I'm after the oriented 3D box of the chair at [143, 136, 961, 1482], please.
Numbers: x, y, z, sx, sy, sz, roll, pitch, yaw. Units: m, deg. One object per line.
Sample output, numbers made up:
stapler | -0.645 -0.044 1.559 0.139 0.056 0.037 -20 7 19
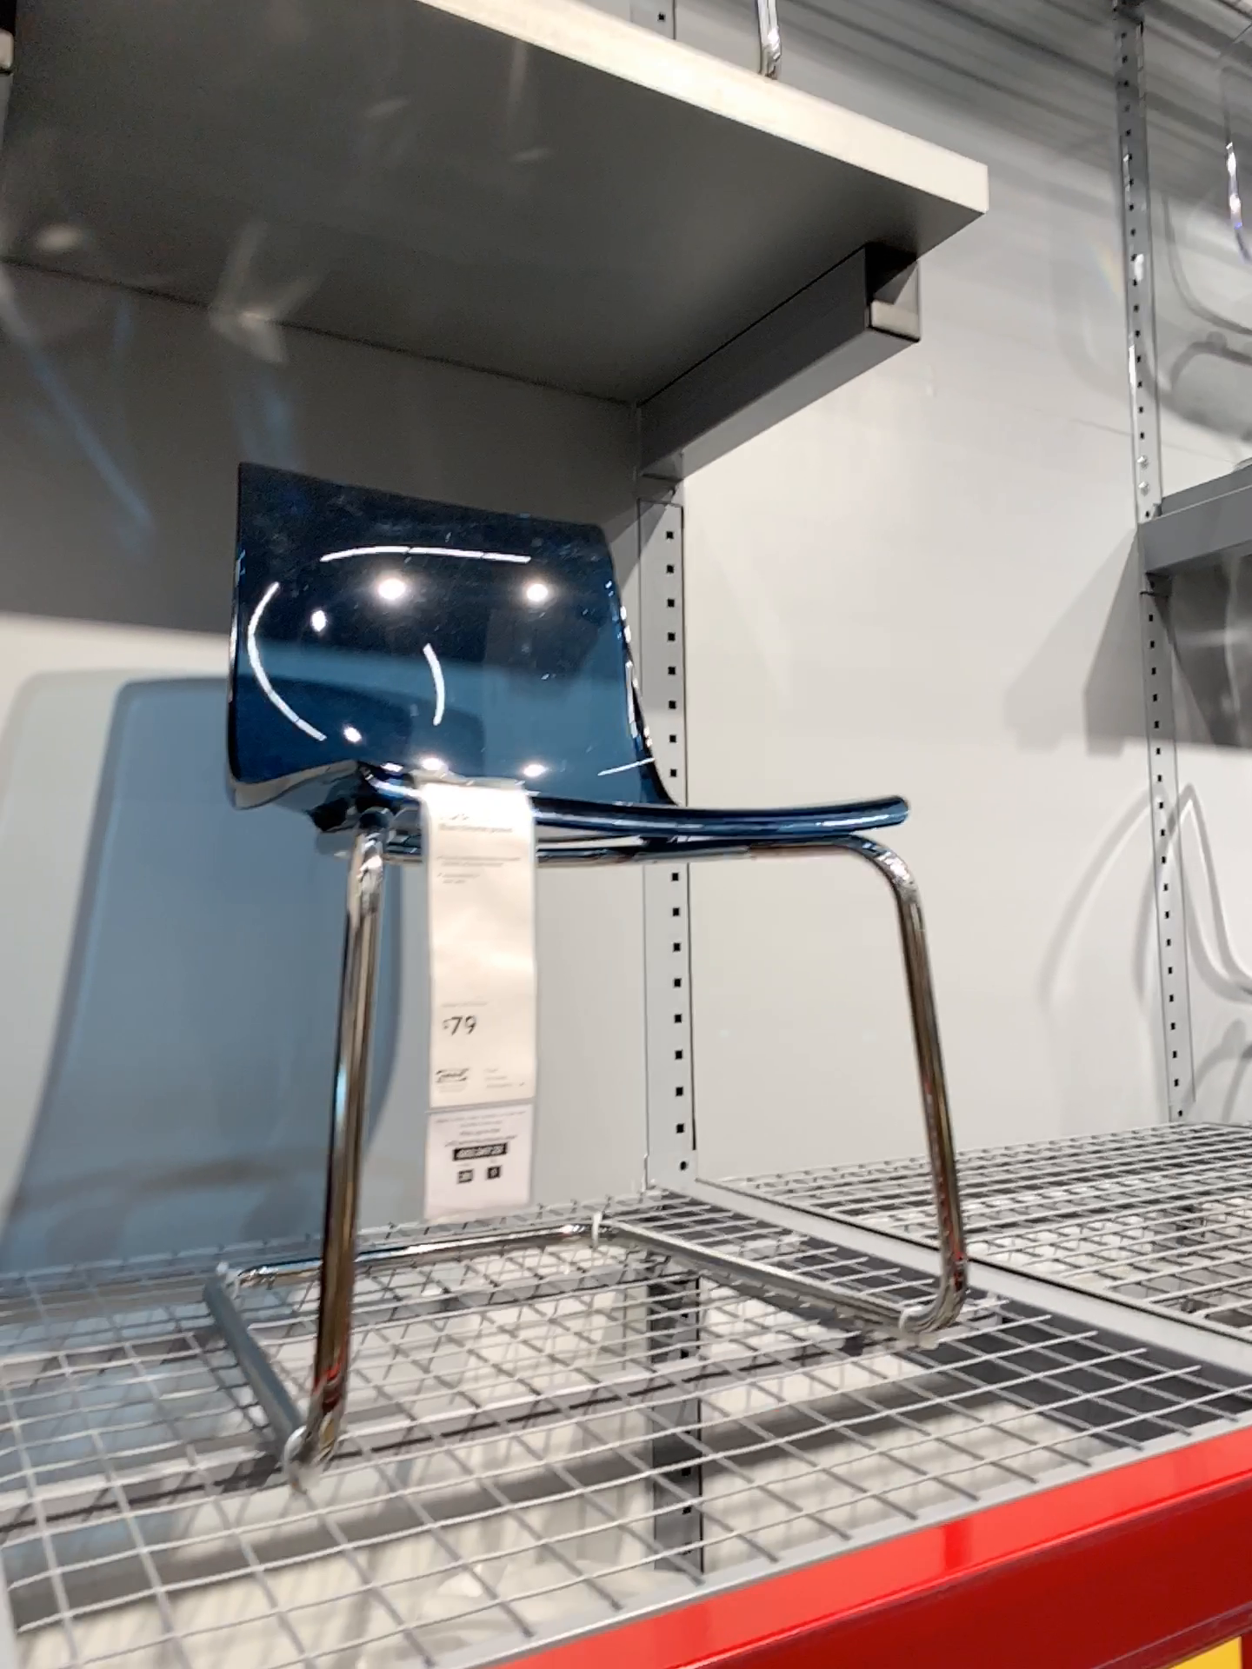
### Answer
chair | -0.105 -0.008 1.159 0.530 0.841 0.549 2 -6 -29
